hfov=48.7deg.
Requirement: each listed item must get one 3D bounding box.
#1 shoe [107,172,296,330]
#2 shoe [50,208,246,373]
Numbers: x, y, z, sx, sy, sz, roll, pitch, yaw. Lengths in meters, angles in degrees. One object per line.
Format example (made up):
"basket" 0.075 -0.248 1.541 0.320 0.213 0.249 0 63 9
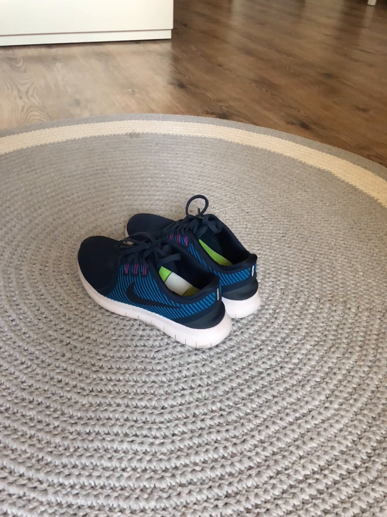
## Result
"shoe" -0.001 -0.025 0.616 0.100 0.080 0.270 -29 48 -34
"shoe" -0.065 0.030 0.568 0.244 0.080 0.100 27 44 27
